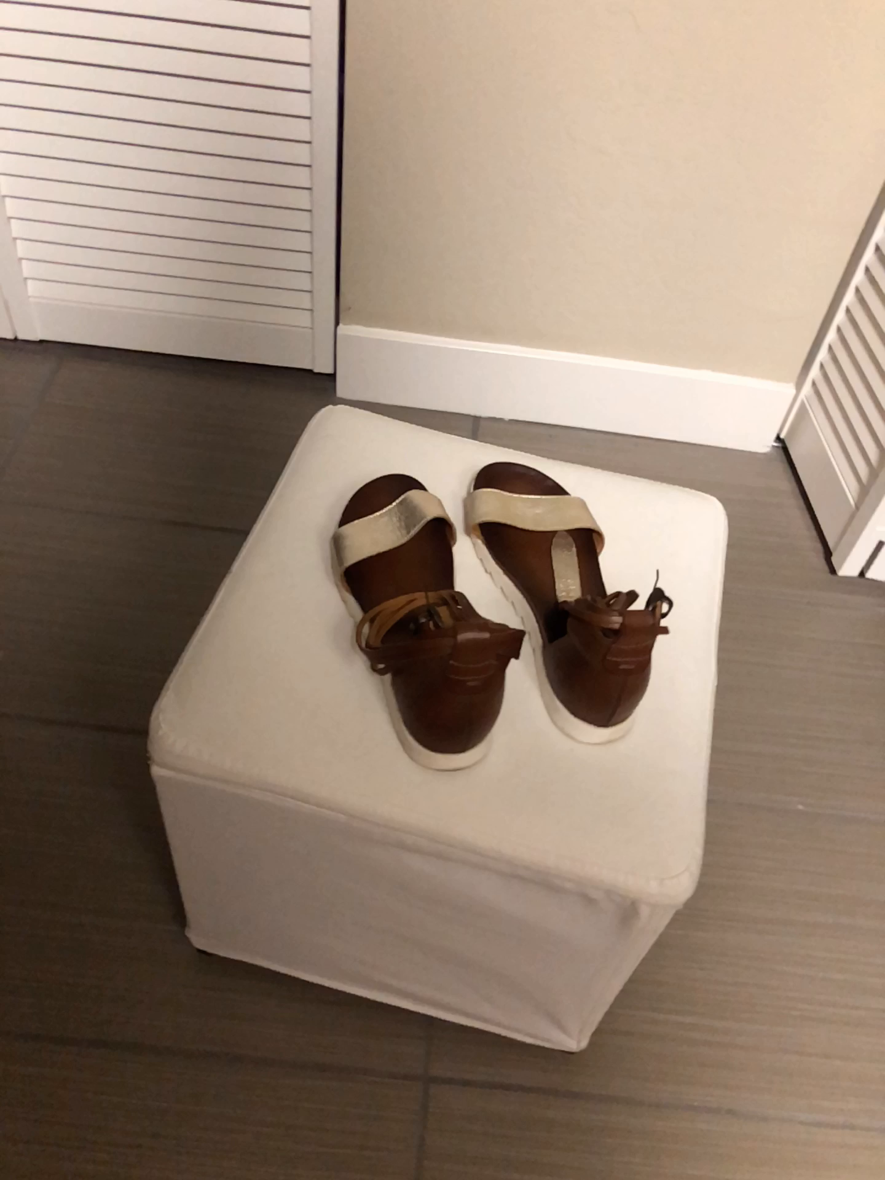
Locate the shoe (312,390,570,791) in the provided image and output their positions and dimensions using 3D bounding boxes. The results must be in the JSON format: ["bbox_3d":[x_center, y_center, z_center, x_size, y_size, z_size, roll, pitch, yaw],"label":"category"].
[{"bbox_3d":[-0.015,-0.012,0.648,0.110,0.090,0.261,-6,51,-13],"label":"shoe"}]

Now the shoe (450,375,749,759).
[{"bbox_3d":[0.092,-0.027,0.668,0.110,0.090,0.261,-6,51,-13],"label":"shoe"}]
